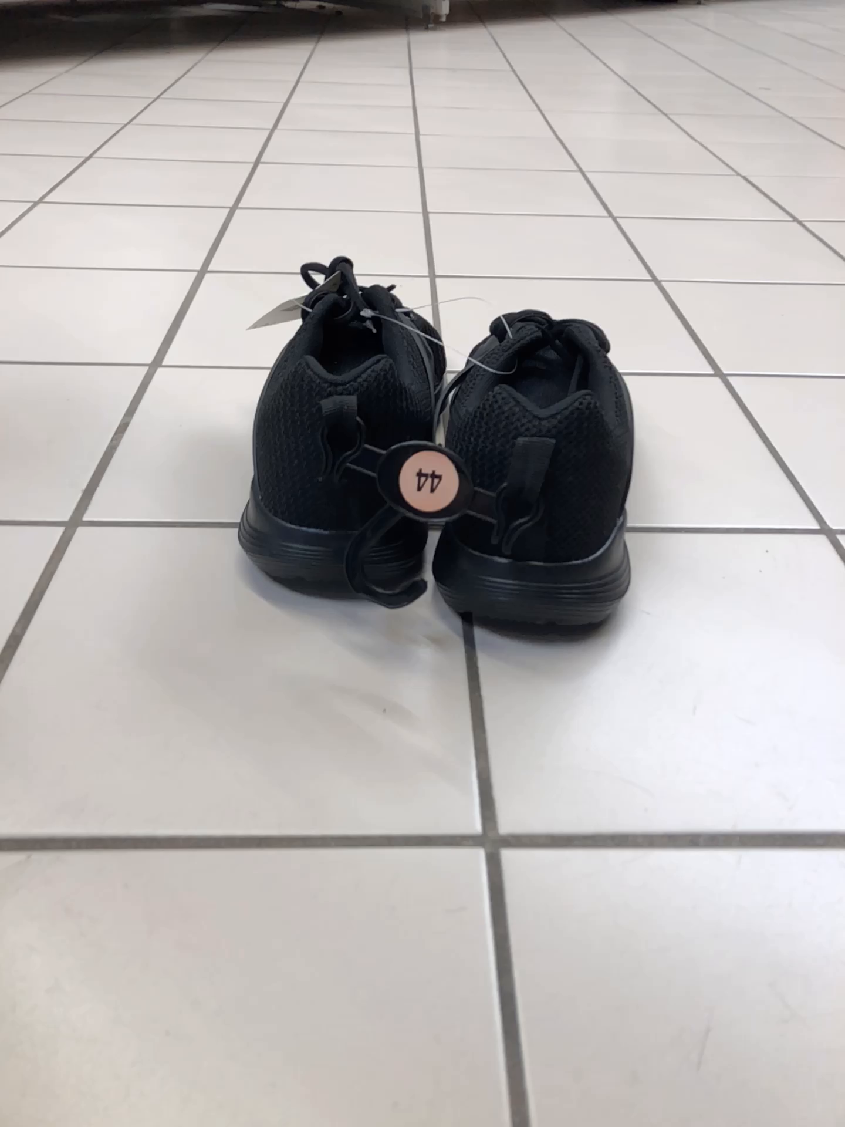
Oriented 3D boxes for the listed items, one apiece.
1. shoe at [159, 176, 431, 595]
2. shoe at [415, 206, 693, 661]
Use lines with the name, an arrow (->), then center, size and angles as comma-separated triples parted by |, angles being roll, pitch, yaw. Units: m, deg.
shoe -> -0.050, -0.122, 0.521 | 0.100, 0.109, 0.312 | 2, 35, 0
shoe -> 0.053, -0.094, 0.500 | 0.100, 0.109, 0.312 | 2, 35, 0
